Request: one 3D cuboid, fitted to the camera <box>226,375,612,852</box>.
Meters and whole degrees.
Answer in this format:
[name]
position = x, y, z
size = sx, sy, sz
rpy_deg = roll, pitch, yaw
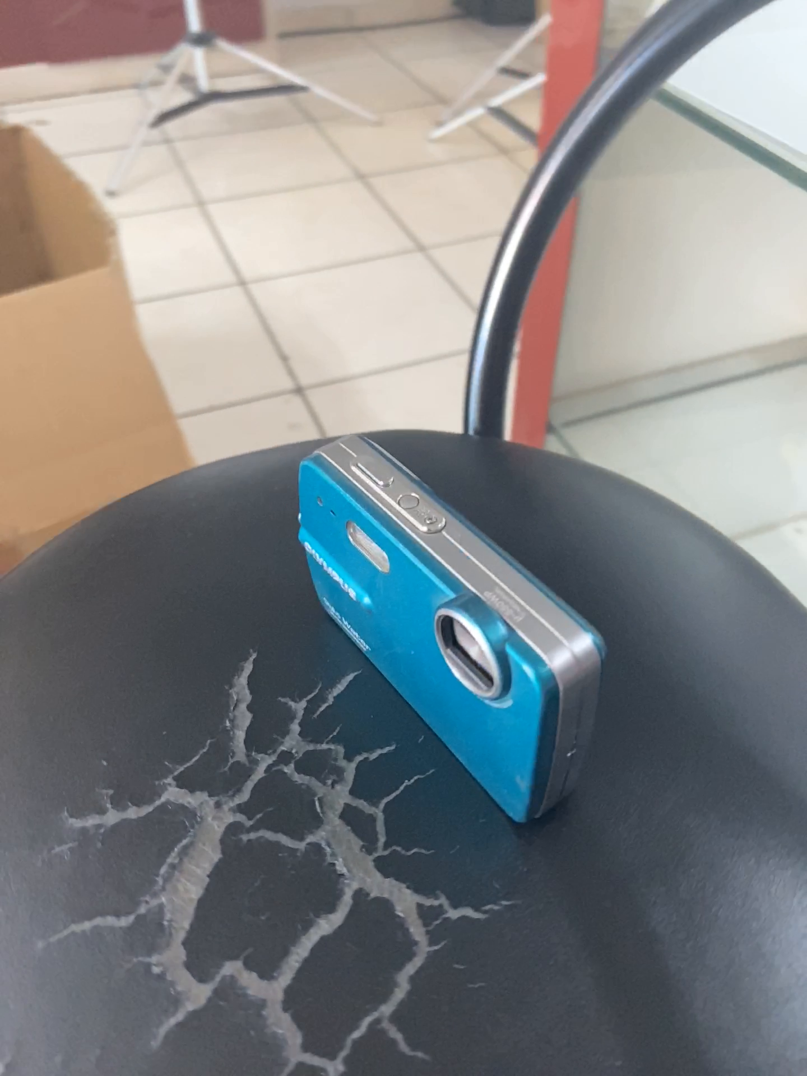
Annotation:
[camera]
position = -0.001, 0.016, 0.212
size = 0.030, 0.070, 0.100
rpy_deg = -29, 51, -25
